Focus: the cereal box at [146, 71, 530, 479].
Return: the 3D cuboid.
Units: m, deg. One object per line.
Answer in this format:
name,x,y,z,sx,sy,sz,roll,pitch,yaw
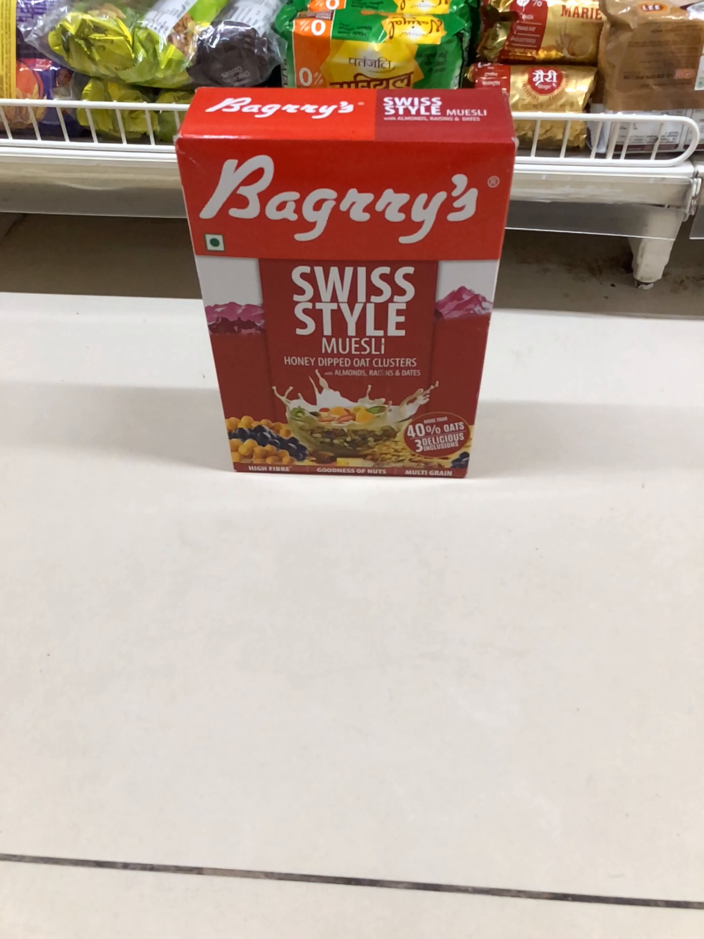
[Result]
cereal box,-0.005,-0.107,0.496,0.190,0.258,0.060,1,46,2
